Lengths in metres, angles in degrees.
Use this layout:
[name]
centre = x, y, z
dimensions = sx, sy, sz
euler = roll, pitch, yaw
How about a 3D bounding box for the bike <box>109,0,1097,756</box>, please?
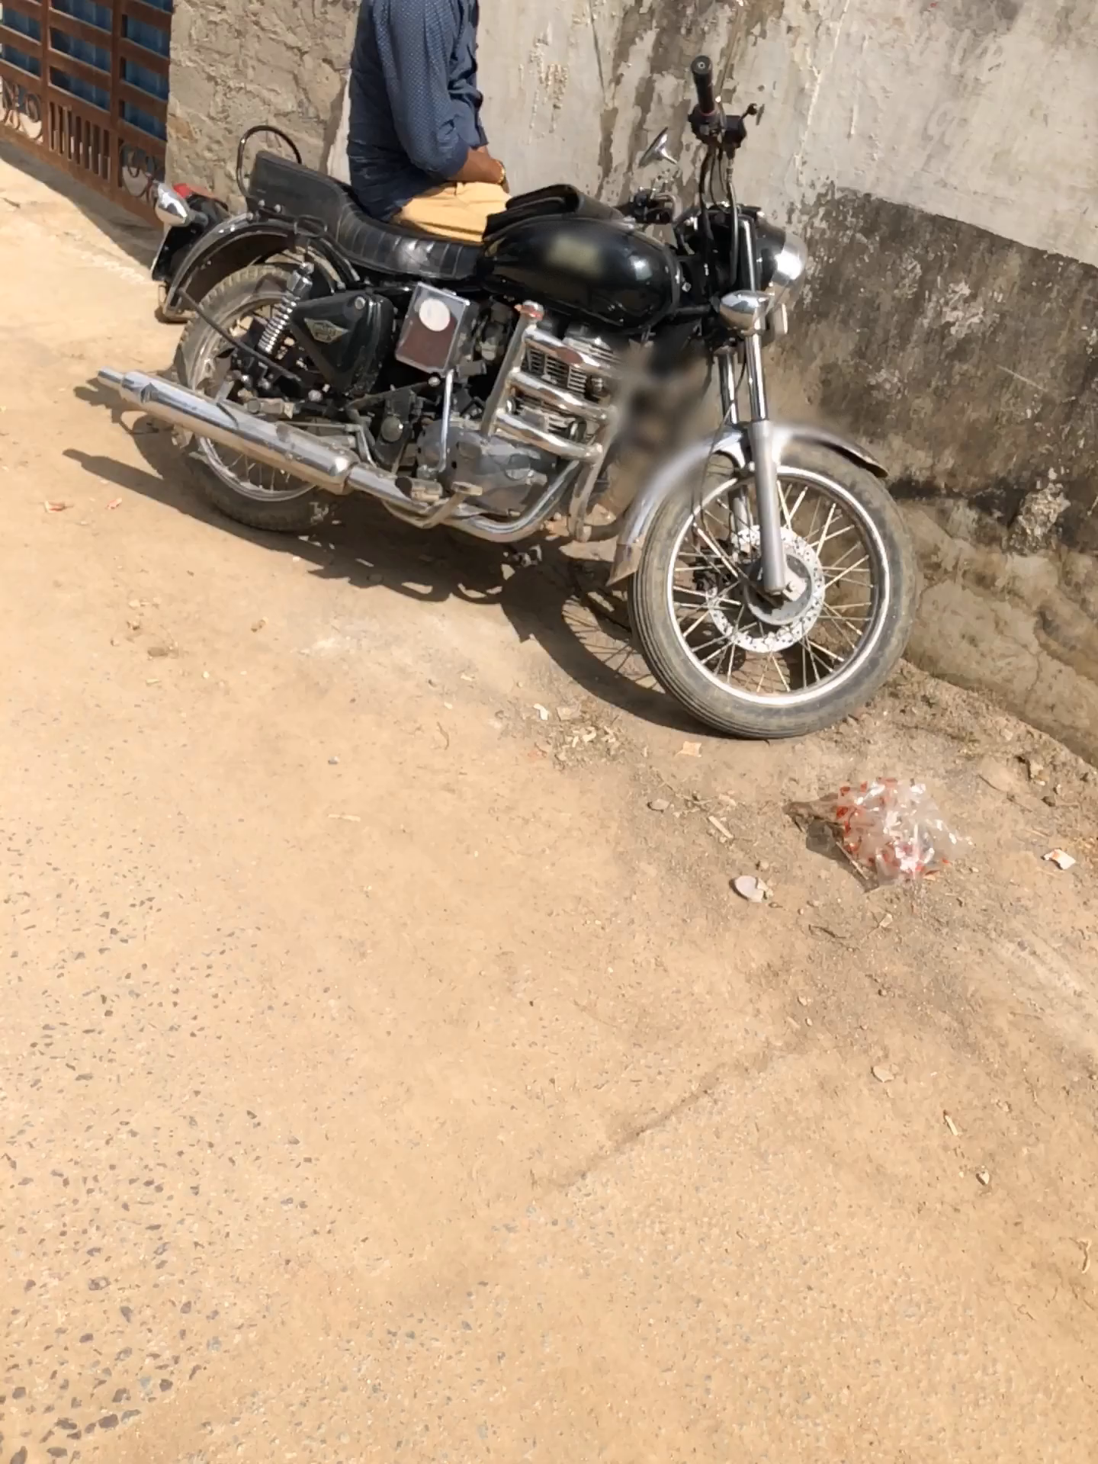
[bike]
centre = 0.079, -0.980, 2.876
dimensions = 1.929, 1.316, 0.887
euler = 22, 33, 17
